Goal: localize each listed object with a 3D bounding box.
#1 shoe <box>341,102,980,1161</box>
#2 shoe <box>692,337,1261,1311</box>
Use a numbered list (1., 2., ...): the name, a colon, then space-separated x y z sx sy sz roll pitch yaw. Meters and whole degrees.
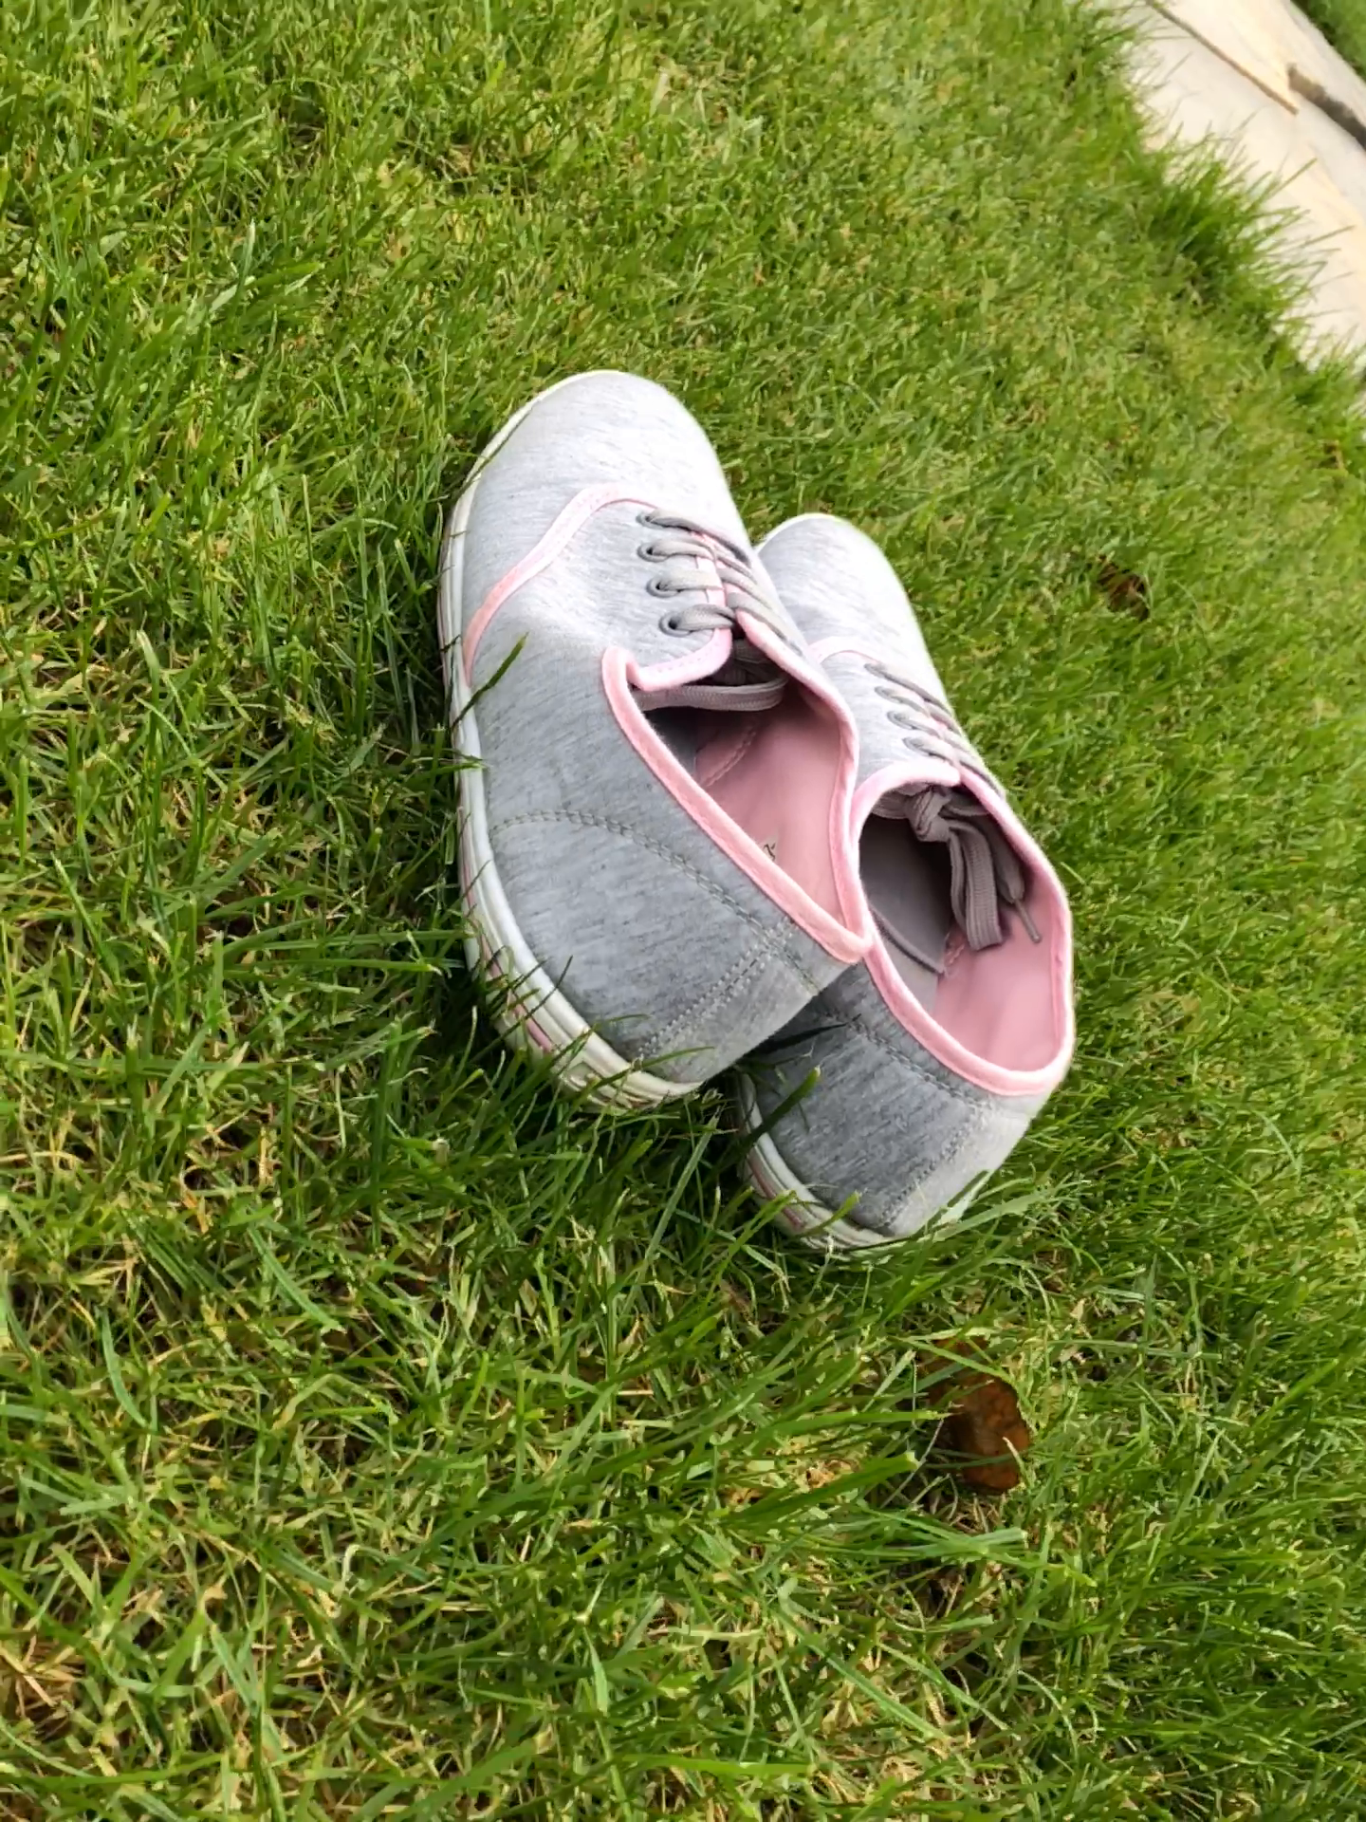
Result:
1. shoe: -0.003 -0.083 0.396 0.100 0.089 0.261 25 46 -28
2. shoe: 0.072 -0.034 0.440 0.100 0.089 0.261 25 46 -28
